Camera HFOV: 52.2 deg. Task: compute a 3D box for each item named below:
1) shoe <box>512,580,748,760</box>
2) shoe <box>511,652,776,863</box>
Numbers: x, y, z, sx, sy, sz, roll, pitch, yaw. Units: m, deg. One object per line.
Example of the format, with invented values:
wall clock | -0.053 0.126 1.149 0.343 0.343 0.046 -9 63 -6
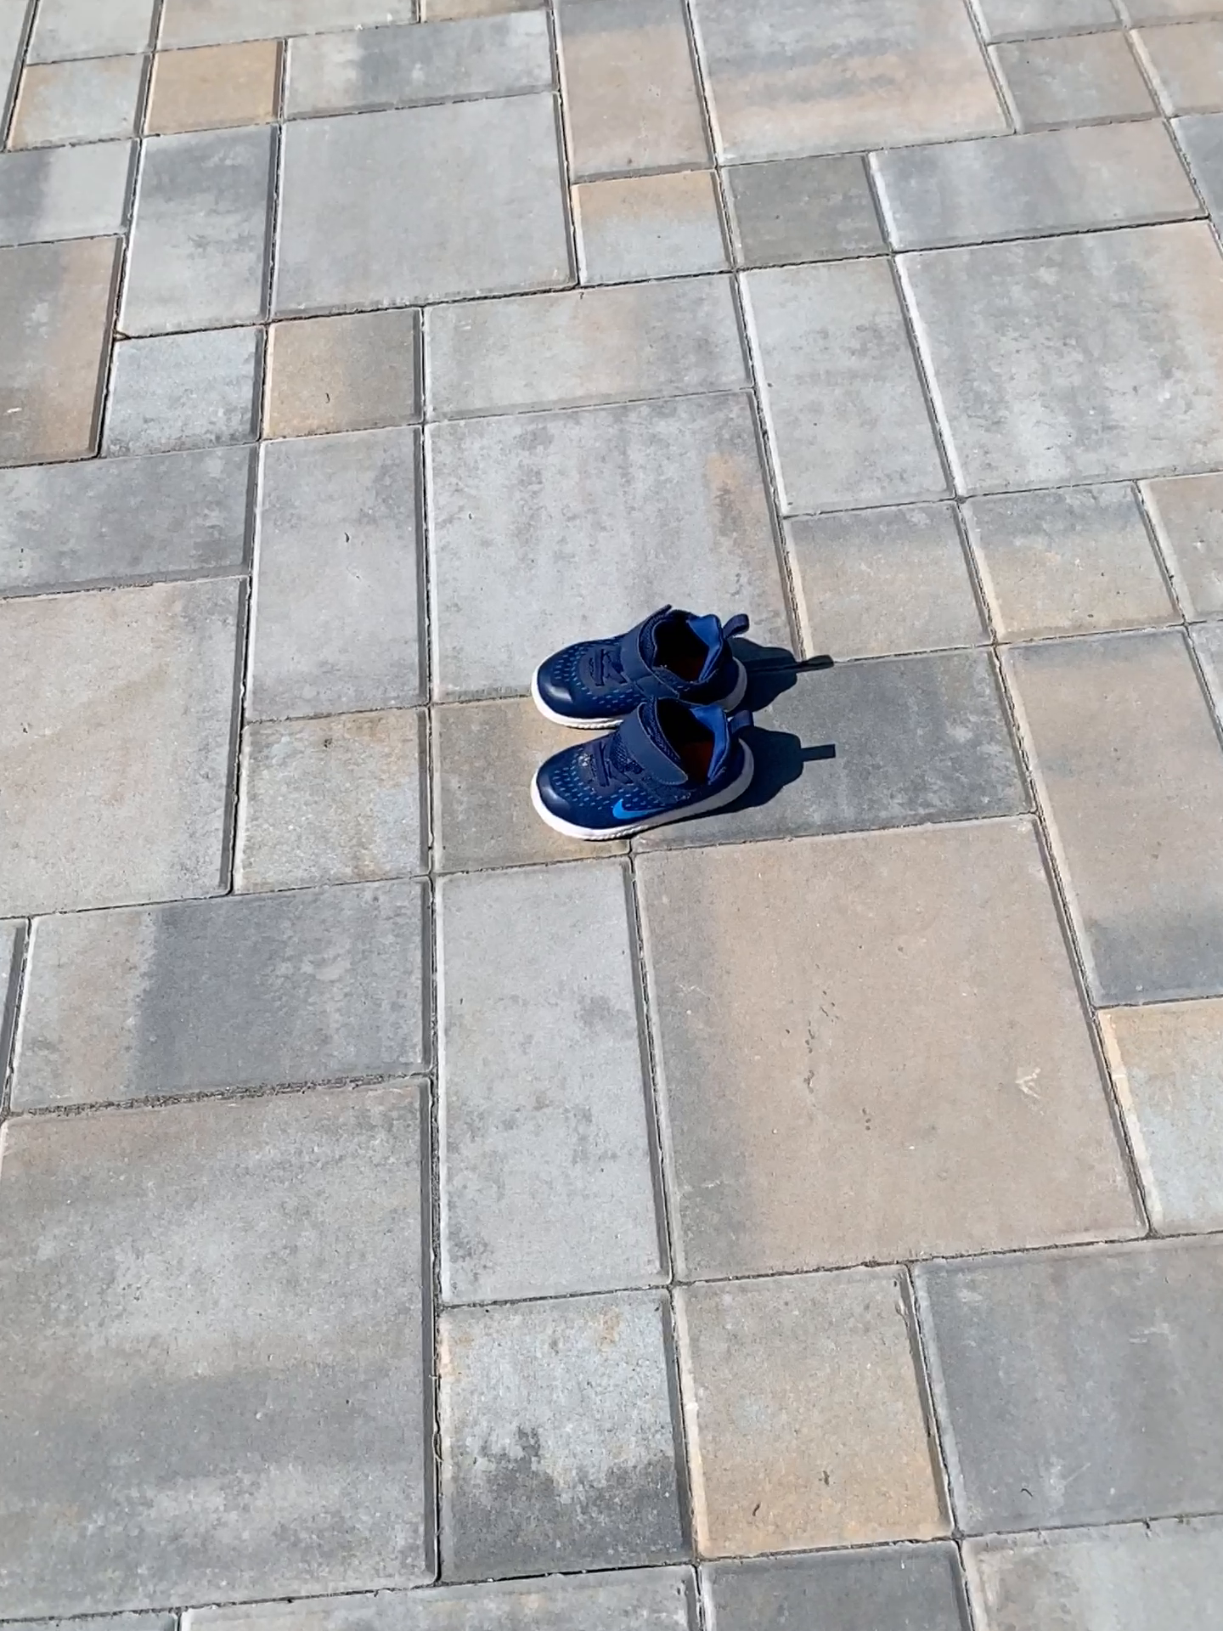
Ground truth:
shoe | 0.014 -0.111 0.969 0.170 0.090 0.090 -5 62 2
shoe | 0.023 -0.041 0.906 0.170 0.090 0.090 -11 62 -2
